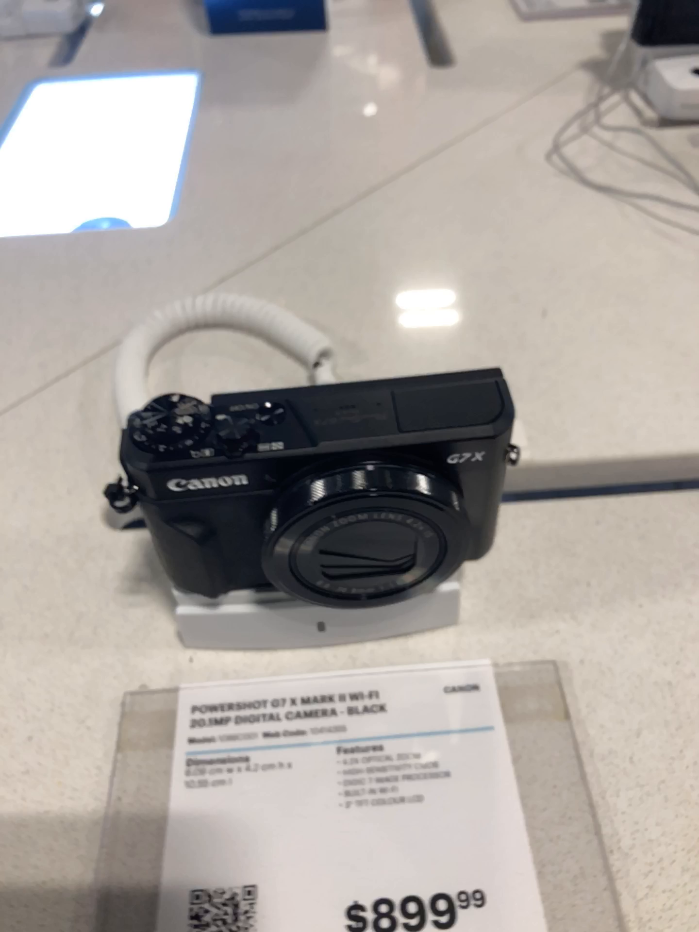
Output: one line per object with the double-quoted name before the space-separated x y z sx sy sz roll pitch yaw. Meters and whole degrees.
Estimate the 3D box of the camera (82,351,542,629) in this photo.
"camera" -0.009 0.008 0.223 0.110 0.060 0.040 -5 47 -1
